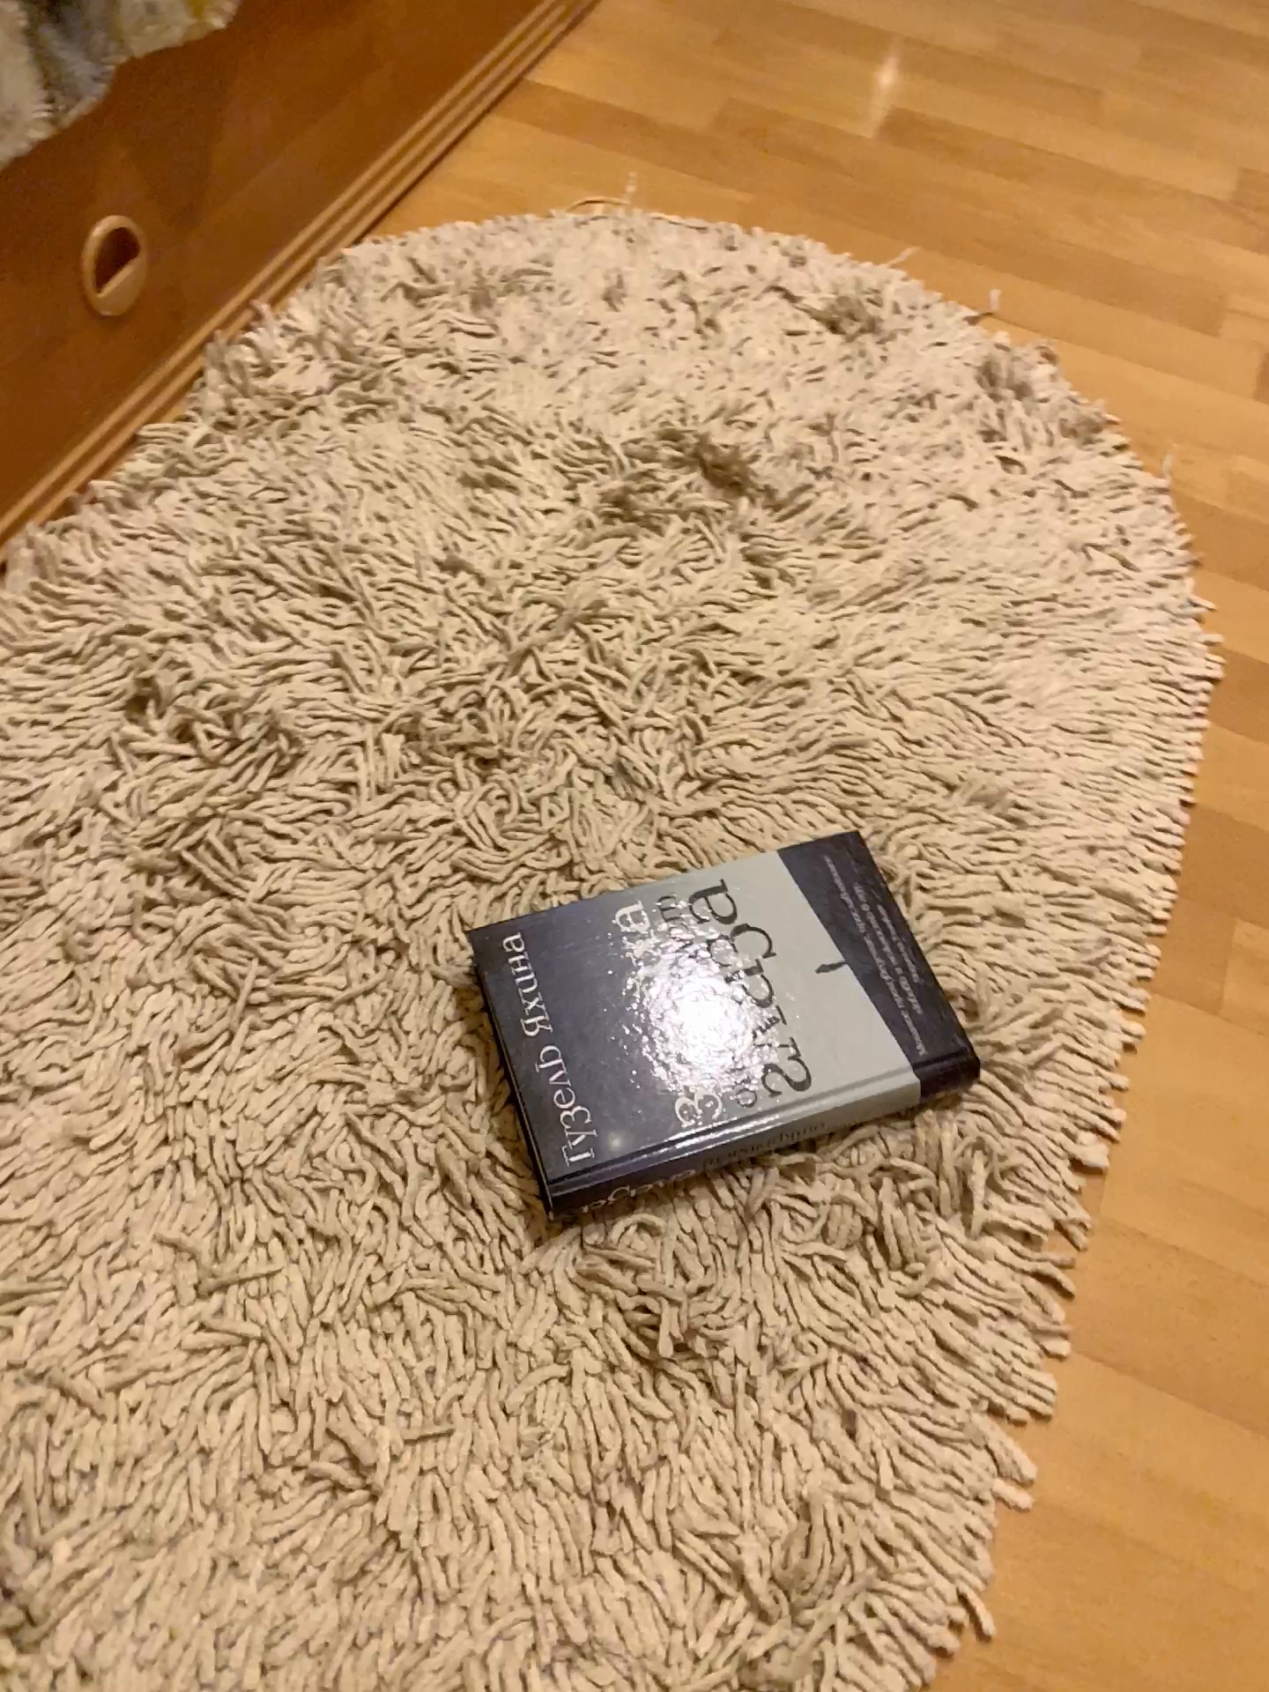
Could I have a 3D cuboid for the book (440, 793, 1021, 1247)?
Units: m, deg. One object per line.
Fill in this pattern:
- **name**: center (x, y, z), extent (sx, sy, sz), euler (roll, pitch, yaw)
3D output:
- **book**: center (0.039, 0.070, 0.591), extent (0.220, 0.040, 0.151), euler (-14, 59, -15)
